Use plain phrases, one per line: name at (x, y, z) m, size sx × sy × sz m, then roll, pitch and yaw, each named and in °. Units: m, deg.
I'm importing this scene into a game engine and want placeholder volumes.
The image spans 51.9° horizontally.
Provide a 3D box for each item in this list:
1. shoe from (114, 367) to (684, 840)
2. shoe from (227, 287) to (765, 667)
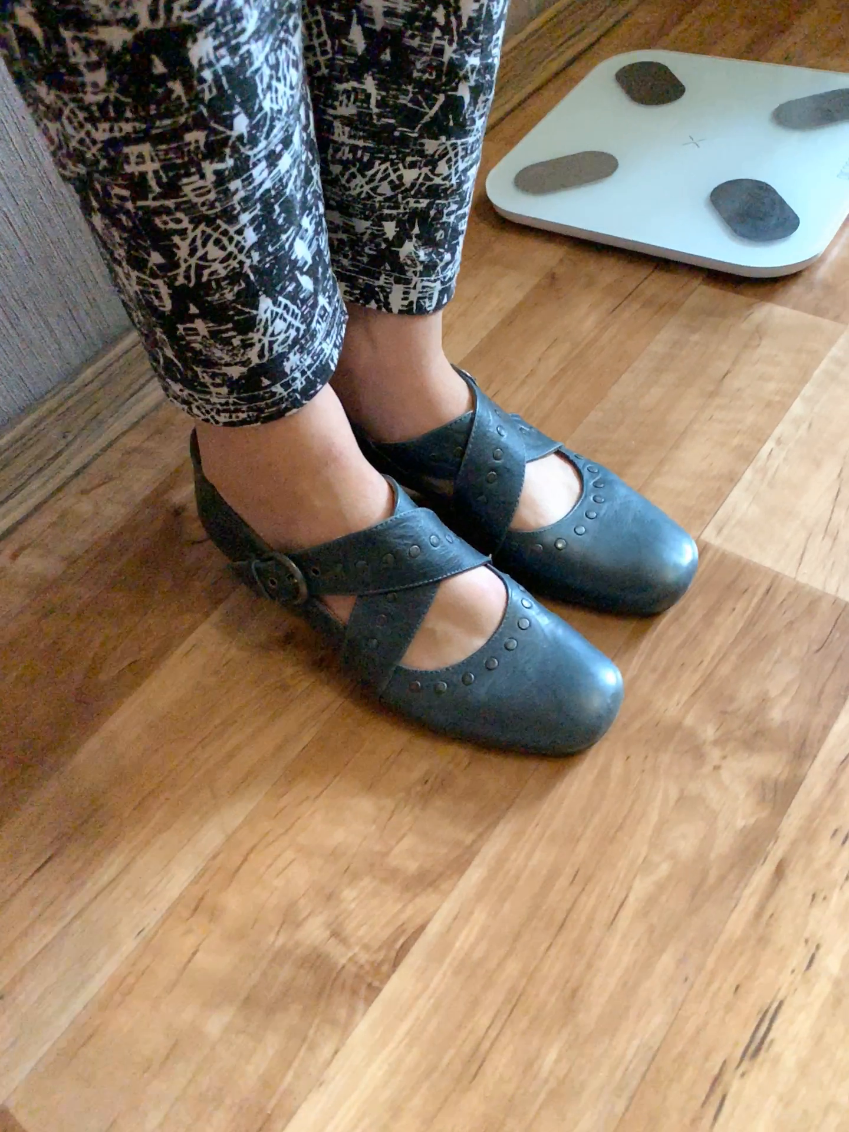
shoe at (-0.015, 0.007, 0.408) m, size 0.241 × 0.100 × 0.090 m, roll 27°, pitch 61°, yaw 28°
shoe at (0.032, -0.055, 0.464) m, size 0.251 × 0.100 × 0.090 m, roll 22°, pitch 59°, yaw 25°
